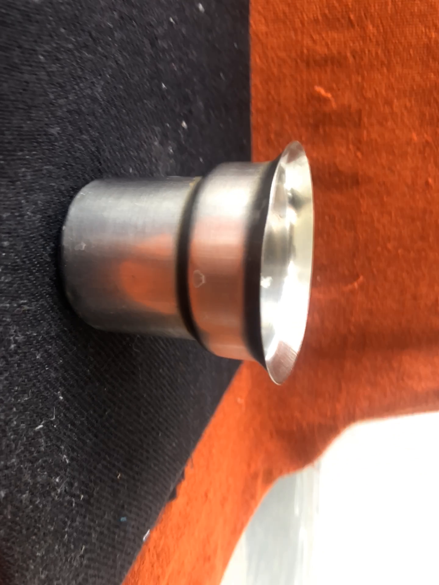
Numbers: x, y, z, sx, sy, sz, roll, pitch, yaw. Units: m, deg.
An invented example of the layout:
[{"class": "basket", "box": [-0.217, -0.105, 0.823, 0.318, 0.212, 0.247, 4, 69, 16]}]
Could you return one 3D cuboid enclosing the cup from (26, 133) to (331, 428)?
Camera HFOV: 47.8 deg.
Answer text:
[{"class": "cup", "box": [-0.004, -0.011, 0.164, 0.070, 0.070, 0.070, 5, 90, -72]}]
